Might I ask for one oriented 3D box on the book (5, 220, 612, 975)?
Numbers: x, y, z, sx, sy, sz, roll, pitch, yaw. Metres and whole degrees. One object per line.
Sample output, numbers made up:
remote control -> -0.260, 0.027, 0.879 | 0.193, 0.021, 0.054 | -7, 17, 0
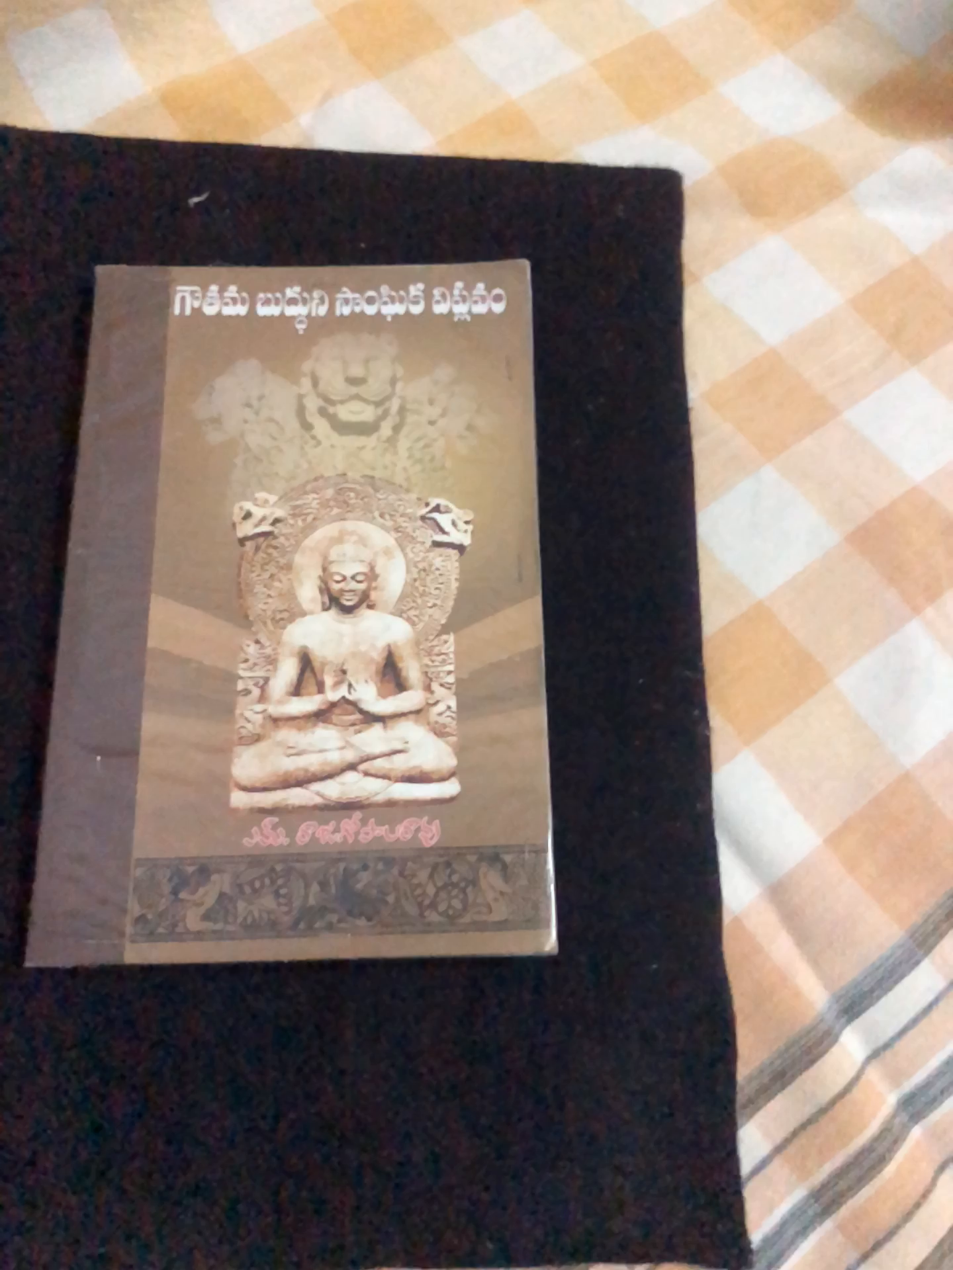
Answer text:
book -> -0.042, -0.021, 0.314 | 0.150, 0.020, 0.230 | 1, 69, -4
